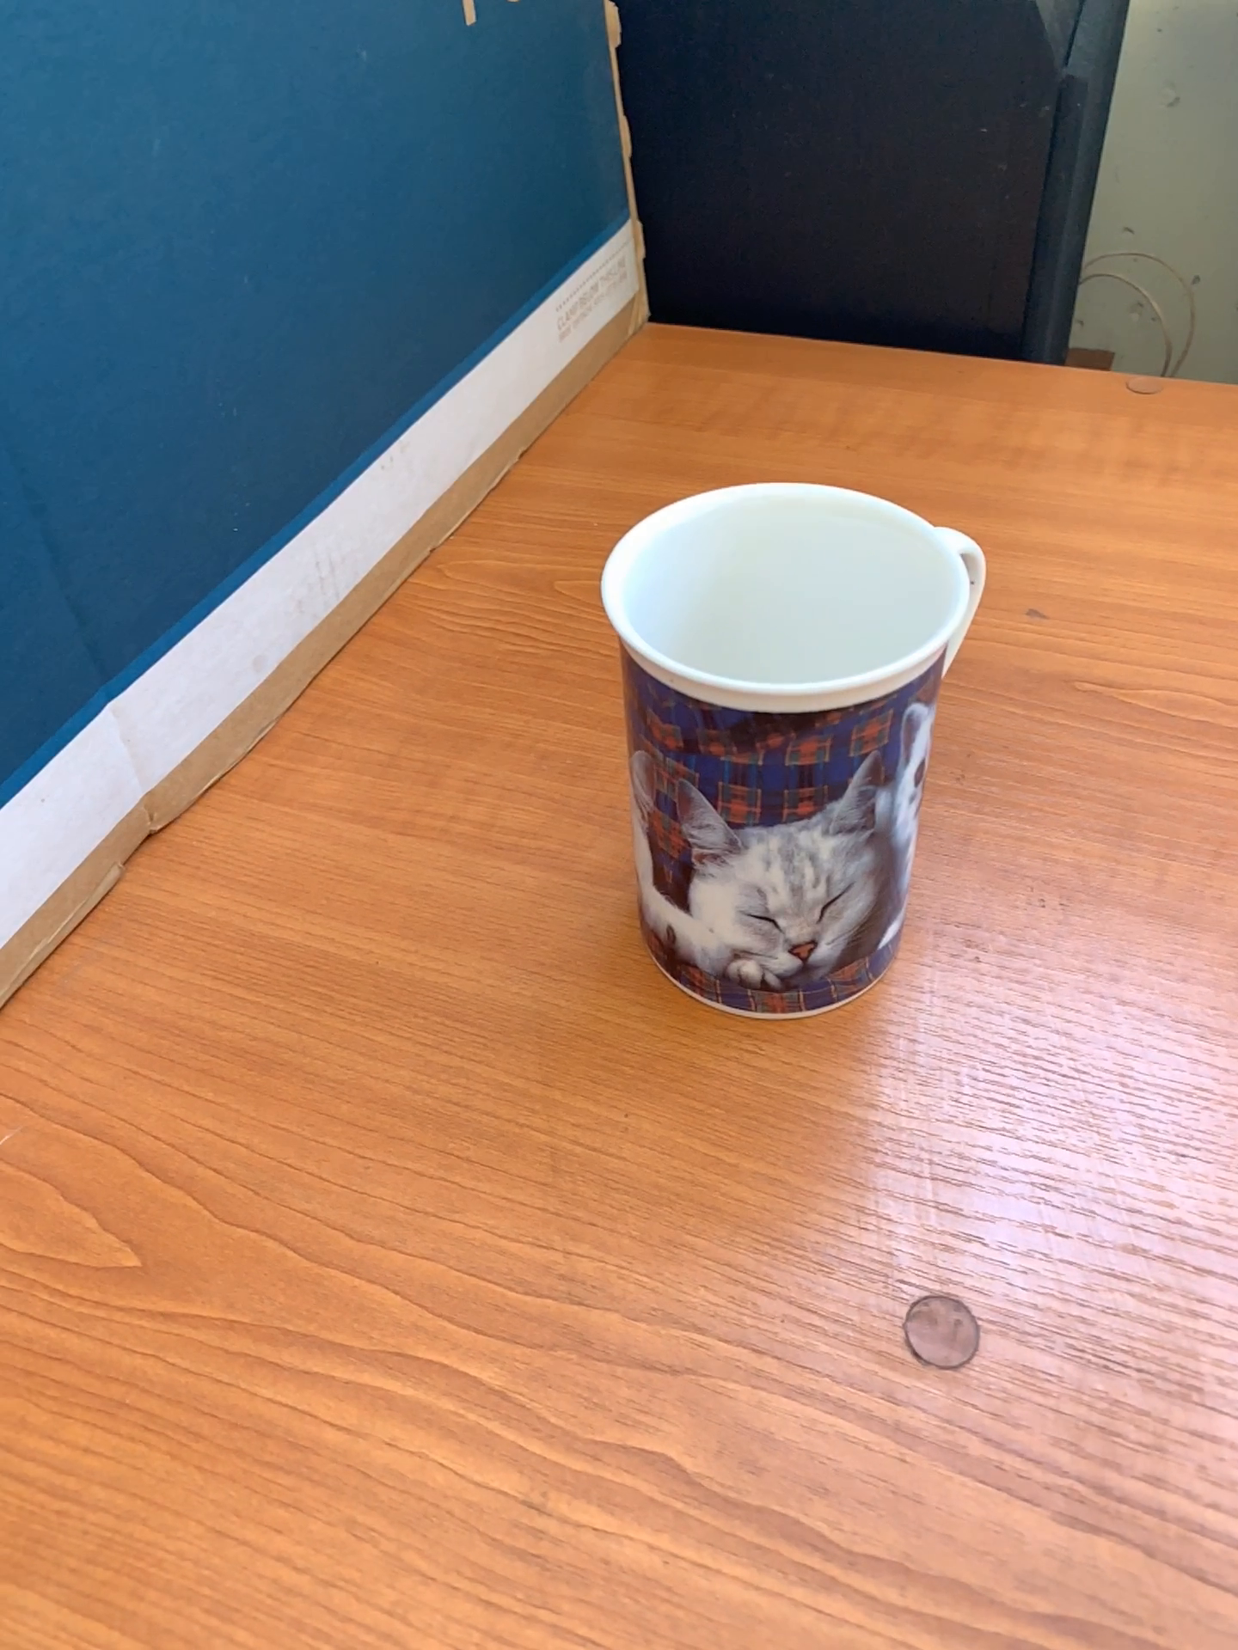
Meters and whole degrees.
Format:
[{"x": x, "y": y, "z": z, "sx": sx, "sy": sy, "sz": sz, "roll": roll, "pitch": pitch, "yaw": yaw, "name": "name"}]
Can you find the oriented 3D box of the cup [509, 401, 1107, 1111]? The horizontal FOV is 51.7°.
[{"x": 0.046, "y": -0.020, "z": 0.295, "sx": 0.080, "sy": 0.100, "sz": 0.110, "roll": 21, "pitch": 50, "yaw": 25, "name": "cup"}]
